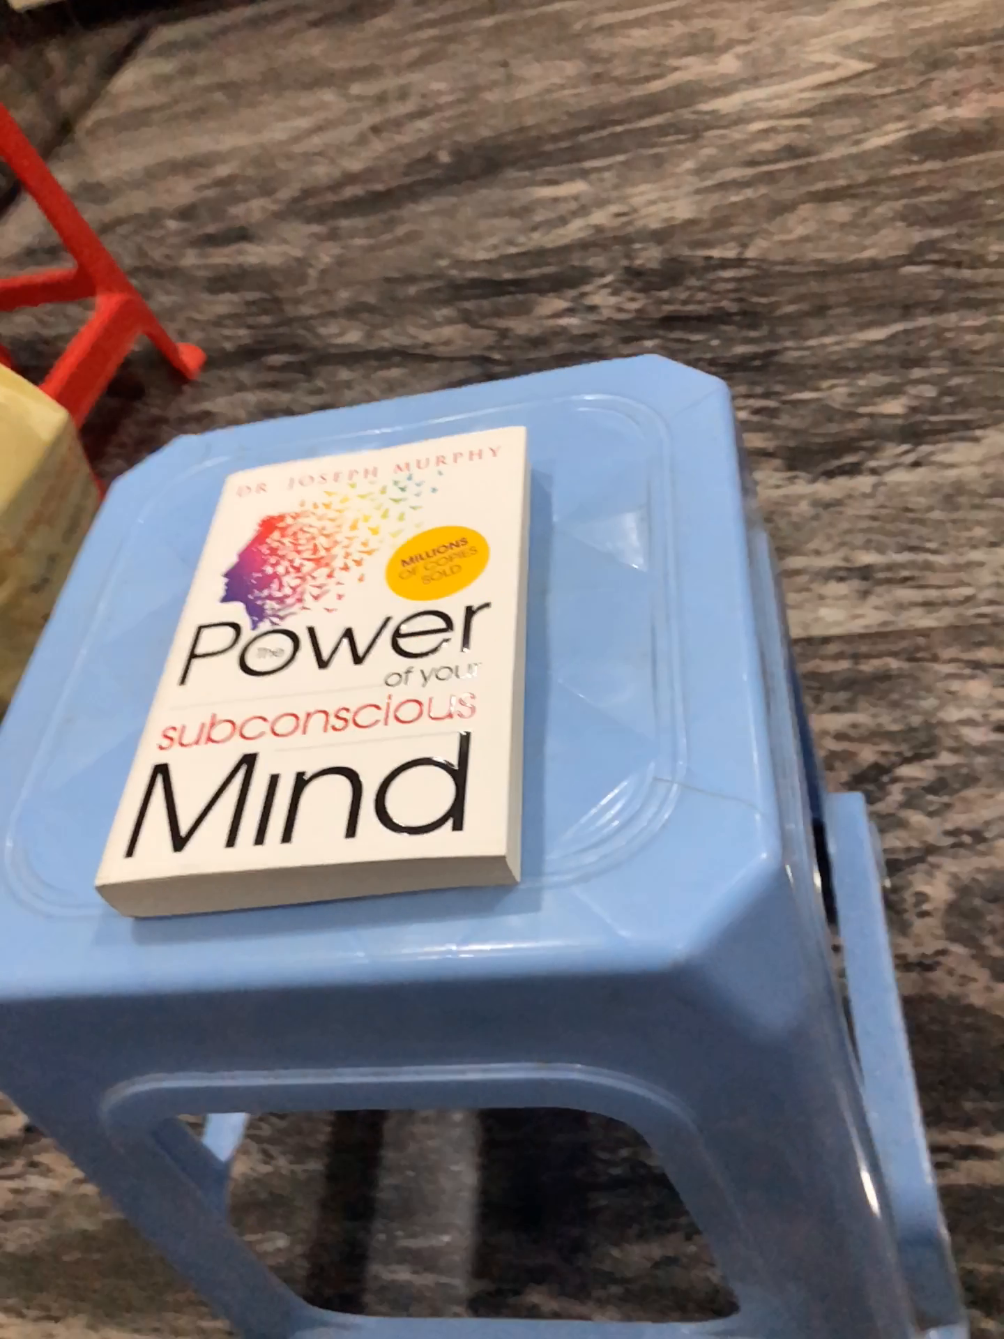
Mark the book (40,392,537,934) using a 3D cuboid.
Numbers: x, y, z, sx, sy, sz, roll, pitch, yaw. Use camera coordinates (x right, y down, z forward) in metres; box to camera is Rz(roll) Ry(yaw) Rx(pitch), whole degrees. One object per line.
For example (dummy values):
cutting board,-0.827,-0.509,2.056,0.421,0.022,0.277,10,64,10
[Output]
book,-0.061,-0.012,0.389,0.140,0.030,0.201,-8,49,12
